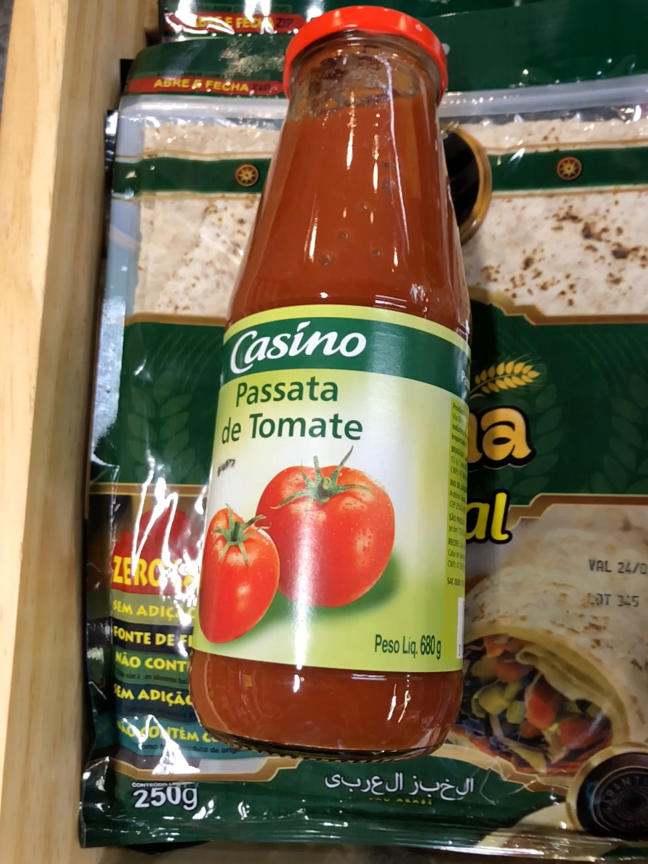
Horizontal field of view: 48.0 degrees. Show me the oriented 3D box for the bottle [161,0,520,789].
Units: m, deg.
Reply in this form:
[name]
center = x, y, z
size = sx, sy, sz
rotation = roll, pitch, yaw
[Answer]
[bottle]
center = 0.013, -0.029, 0.226
size = 0.070, 0.080, 0.230
rotation = -4, 78, 32
